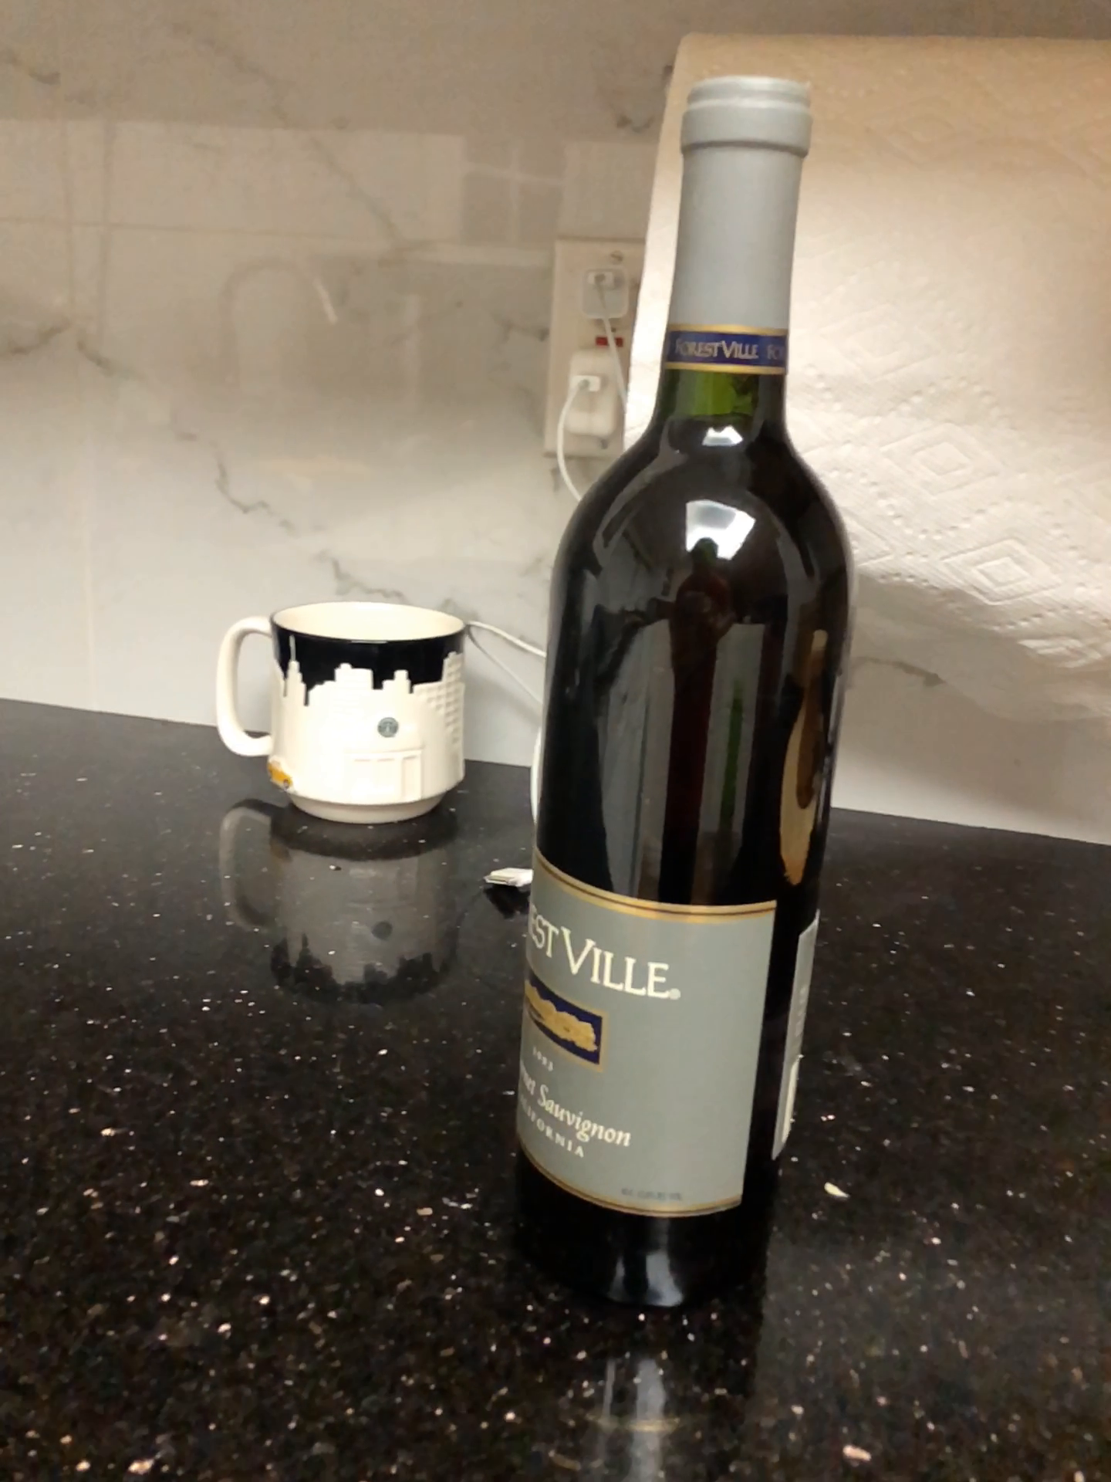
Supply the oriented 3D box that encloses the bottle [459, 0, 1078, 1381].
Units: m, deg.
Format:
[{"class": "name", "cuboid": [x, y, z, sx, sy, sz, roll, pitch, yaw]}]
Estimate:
[{"class": "bottle", "cuboid": [0.041, -0.003, 0.311, 0.090, 0.299, 0.080, -6, 20, -30]}]
